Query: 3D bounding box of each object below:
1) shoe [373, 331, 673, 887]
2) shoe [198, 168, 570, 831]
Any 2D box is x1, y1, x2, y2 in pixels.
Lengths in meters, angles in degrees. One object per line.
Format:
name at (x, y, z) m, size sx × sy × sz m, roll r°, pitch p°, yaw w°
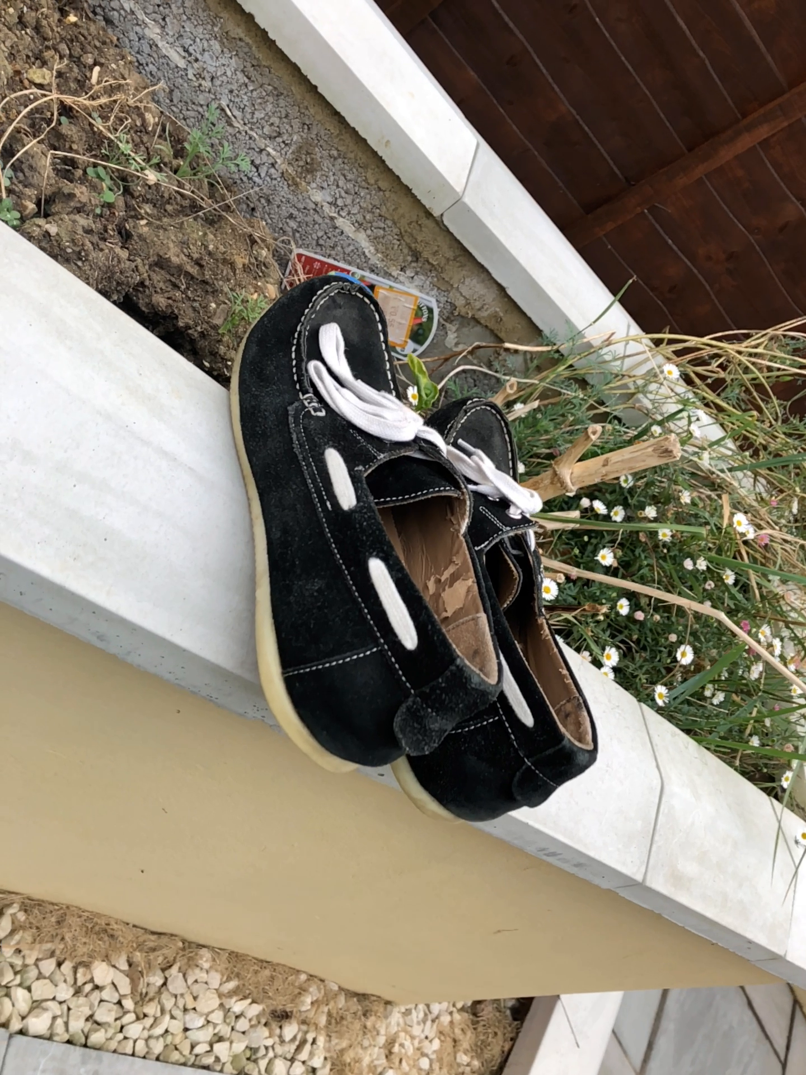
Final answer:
shoe at (0.059, 0.023, 0.513) m, size 0.110 × 0.089 × 0.301 m, roll 41°, pitch 33°, yaw -32°
shoe at (-0.021, -0.032, 0.444) m, size 0.120 × 0.089 × 0.311 m, roll 31°, pitch 38°, yaw -40°
